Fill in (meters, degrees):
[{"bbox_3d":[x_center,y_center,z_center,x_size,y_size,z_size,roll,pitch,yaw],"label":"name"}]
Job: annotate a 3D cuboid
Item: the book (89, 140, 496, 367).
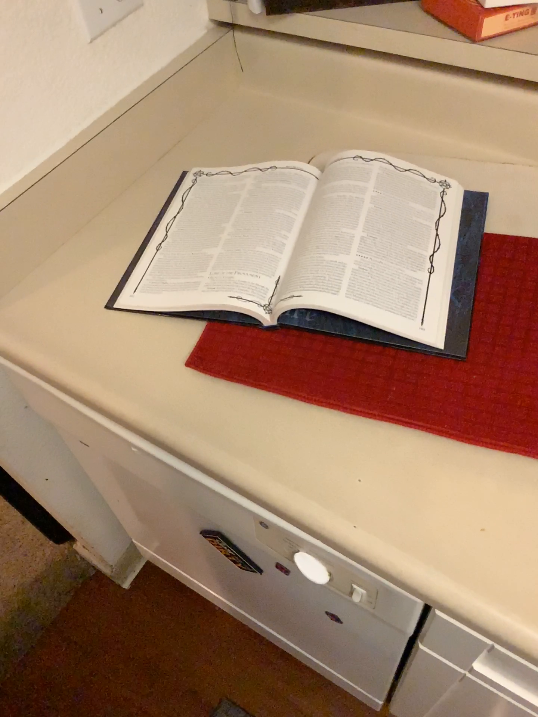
[{"bbox_3d":[0.042,-0.155,0.762,0.450,0.060,0.290,8,55,13],"label":"book"}]
